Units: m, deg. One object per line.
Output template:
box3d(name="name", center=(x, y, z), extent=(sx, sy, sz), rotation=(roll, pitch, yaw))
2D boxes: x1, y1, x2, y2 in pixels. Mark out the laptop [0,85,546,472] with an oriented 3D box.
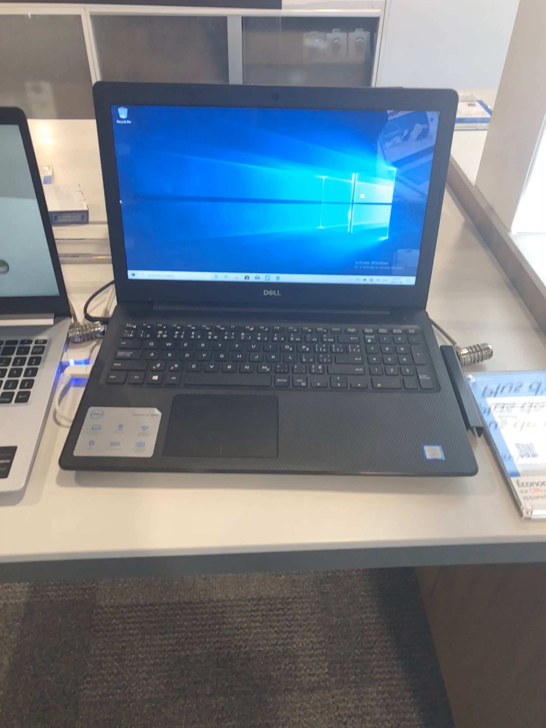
box3d(name="laptop", center=(-0.003, -0.096, 0.579), extent=(0.368, 0.230, 0.311), rotation=(1, 40, -1))
